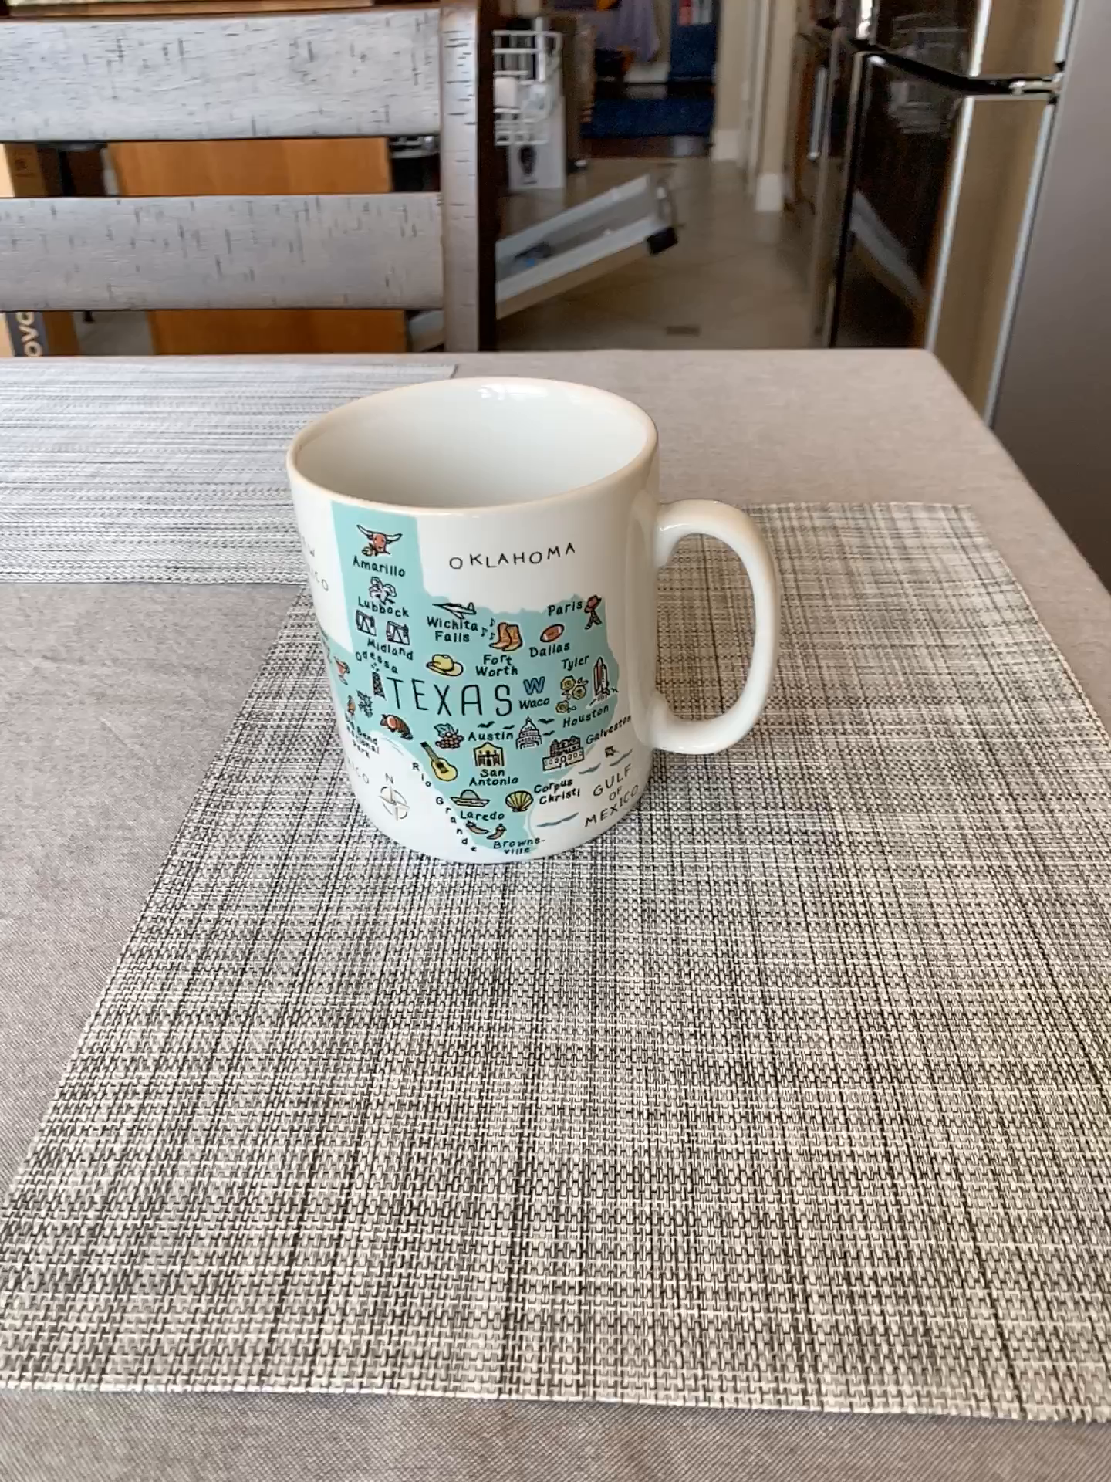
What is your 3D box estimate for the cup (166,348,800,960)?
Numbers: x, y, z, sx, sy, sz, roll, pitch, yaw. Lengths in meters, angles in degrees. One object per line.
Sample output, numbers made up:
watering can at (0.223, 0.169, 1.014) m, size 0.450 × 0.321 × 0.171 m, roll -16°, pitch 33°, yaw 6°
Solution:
cup at (-0.014, -0.035, 0.369) m, size 0.151 × 0.136 × 0.112 m, roll 12°, pitch 37°, yaw 18°
